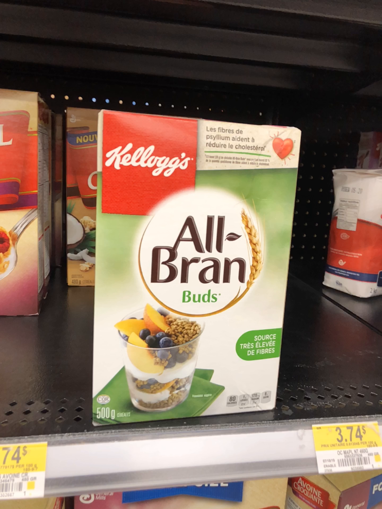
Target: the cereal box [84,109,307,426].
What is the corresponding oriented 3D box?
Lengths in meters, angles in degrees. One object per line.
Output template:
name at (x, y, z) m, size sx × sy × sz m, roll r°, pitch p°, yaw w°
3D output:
cereal box at (-0.004, 0.012, 0.325) m, size 0.150 × 0.219 × 0.050 m, roll 0°, pitch 12°, yaw -14°
